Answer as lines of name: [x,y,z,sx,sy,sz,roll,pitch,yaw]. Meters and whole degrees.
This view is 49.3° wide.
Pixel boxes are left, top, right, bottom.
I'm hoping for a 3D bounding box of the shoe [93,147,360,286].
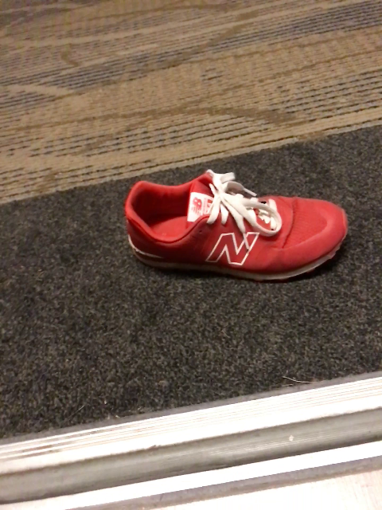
shoe: [0.041,-0.040,0.470,0.256,0.107,0.101,0,51,12]
